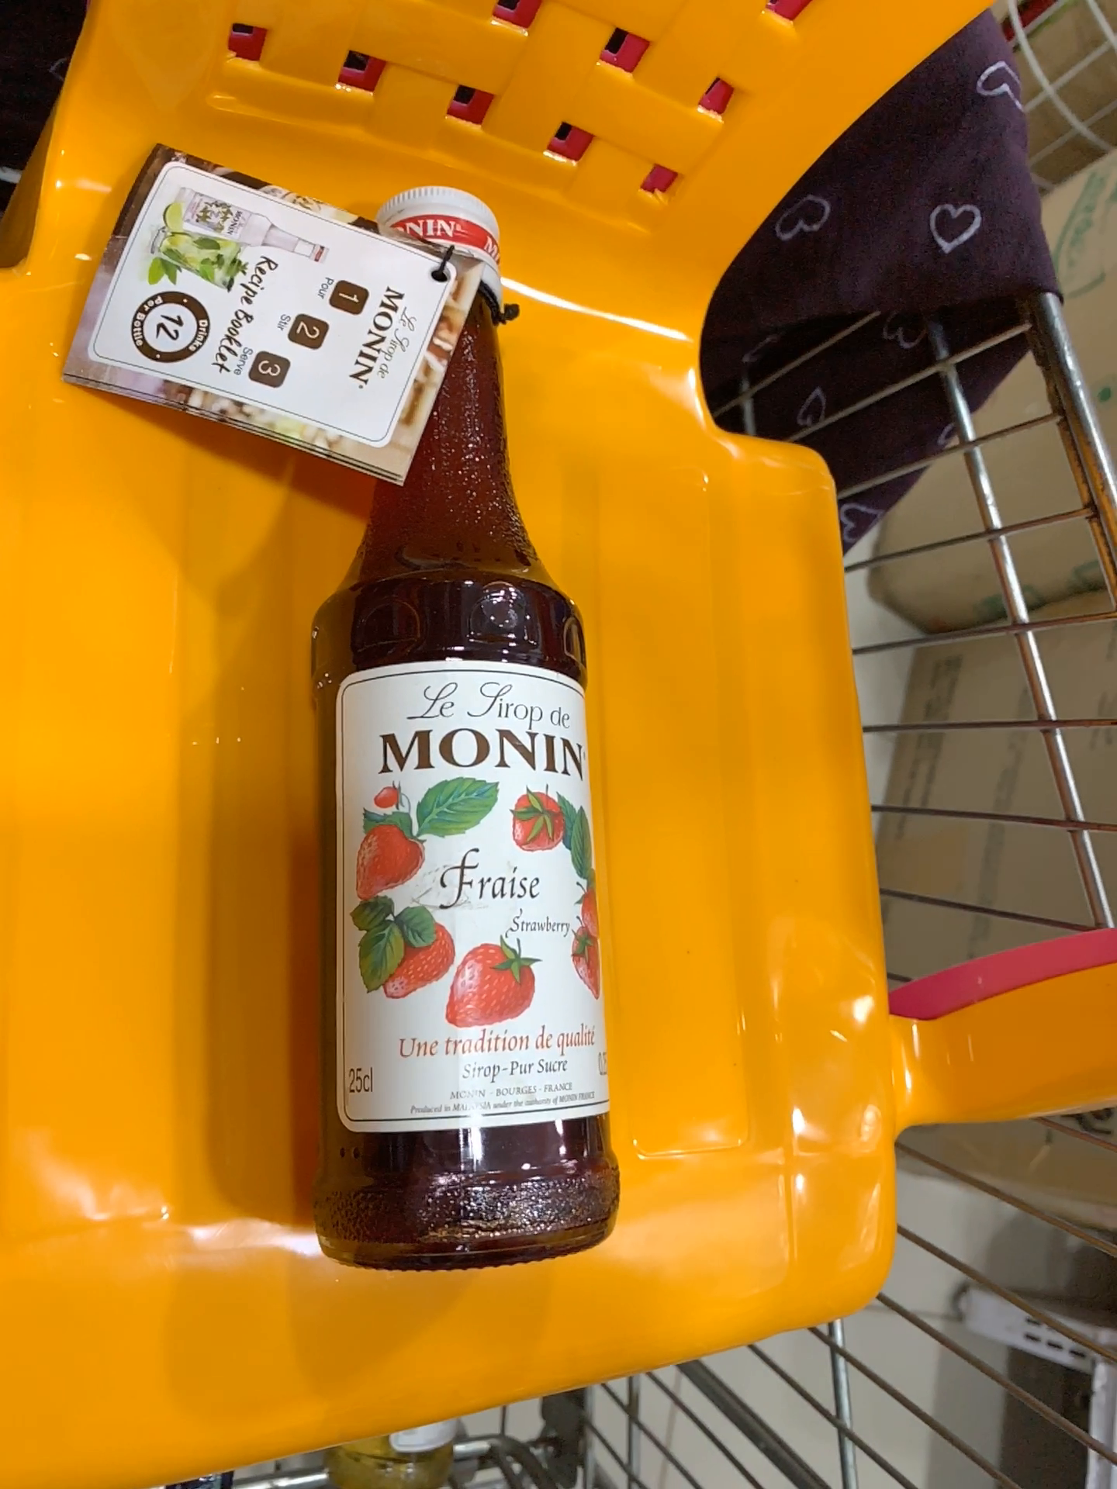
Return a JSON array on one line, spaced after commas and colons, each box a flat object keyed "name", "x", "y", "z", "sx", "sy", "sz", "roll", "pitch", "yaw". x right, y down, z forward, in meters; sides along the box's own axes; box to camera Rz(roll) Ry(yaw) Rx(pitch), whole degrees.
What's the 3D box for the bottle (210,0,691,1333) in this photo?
[{"name": "bottle", "x": -0.027, "y": -0.021, "z": 0.225, "sx": 0.060, "sy": 0.060, "sz": 0.230, "roll": 6, "pitch": 70, "yaw": -29}]
